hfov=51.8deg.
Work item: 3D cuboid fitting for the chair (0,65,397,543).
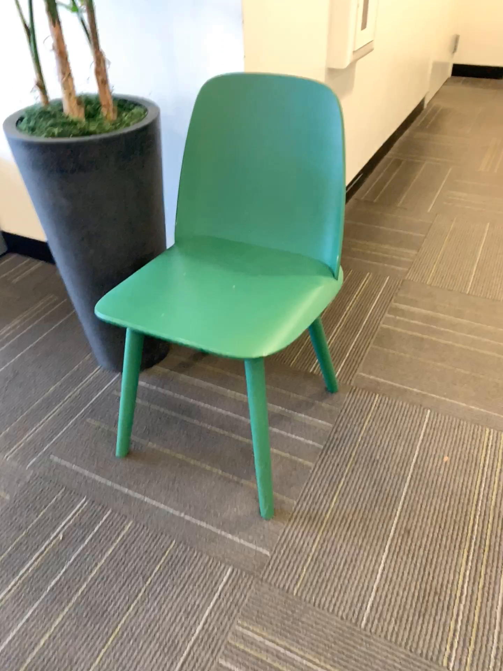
[{"bbox_3d":[-0.060,-0.103,1.133,0.501,0.746,0.602,16,41,21],"label":"chair"}]
